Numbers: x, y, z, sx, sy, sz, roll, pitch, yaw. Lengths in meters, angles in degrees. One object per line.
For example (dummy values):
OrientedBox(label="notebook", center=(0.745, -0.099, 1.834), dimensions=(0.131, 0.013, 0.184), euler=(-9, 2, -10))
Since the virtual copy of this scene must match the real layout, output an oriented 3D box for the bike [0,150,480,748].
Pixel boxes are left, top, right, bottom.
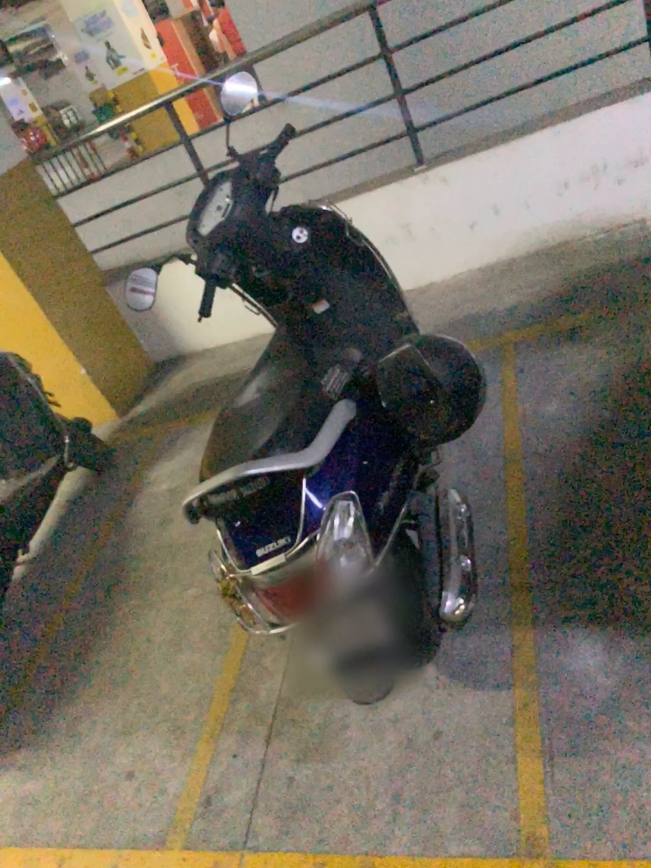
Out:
OrientedBox(label="bike", center=(-0.132, -0.074, 2.038), dimensions=(0.622, 1.157, 1.482), euler=(-20, 29, 12))
